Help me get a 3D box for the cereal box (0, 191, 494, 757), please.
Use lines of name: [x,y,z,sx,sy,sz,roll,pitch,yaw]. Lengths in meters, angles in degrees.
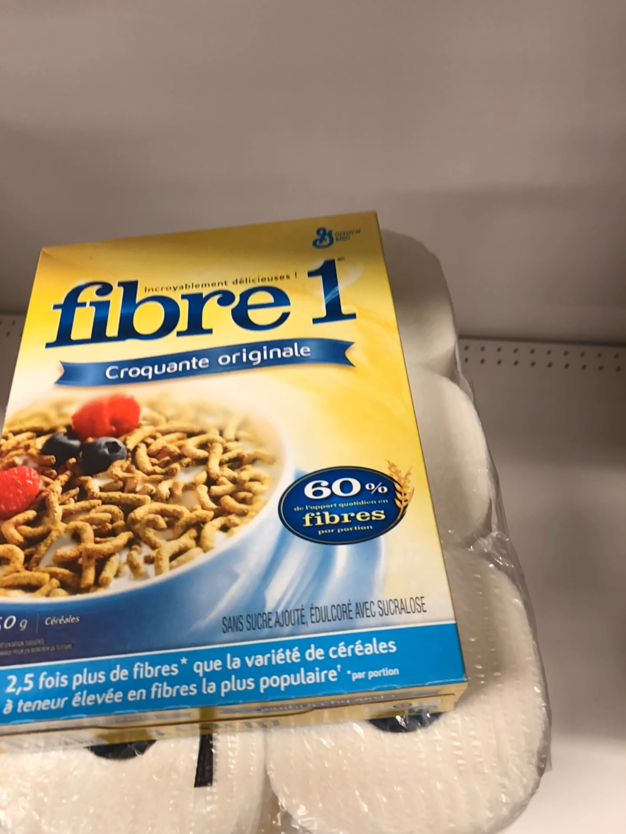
cereal box: [-0.043,0.011,0.341,0.200,0.060,0.260,-5,58,2]
